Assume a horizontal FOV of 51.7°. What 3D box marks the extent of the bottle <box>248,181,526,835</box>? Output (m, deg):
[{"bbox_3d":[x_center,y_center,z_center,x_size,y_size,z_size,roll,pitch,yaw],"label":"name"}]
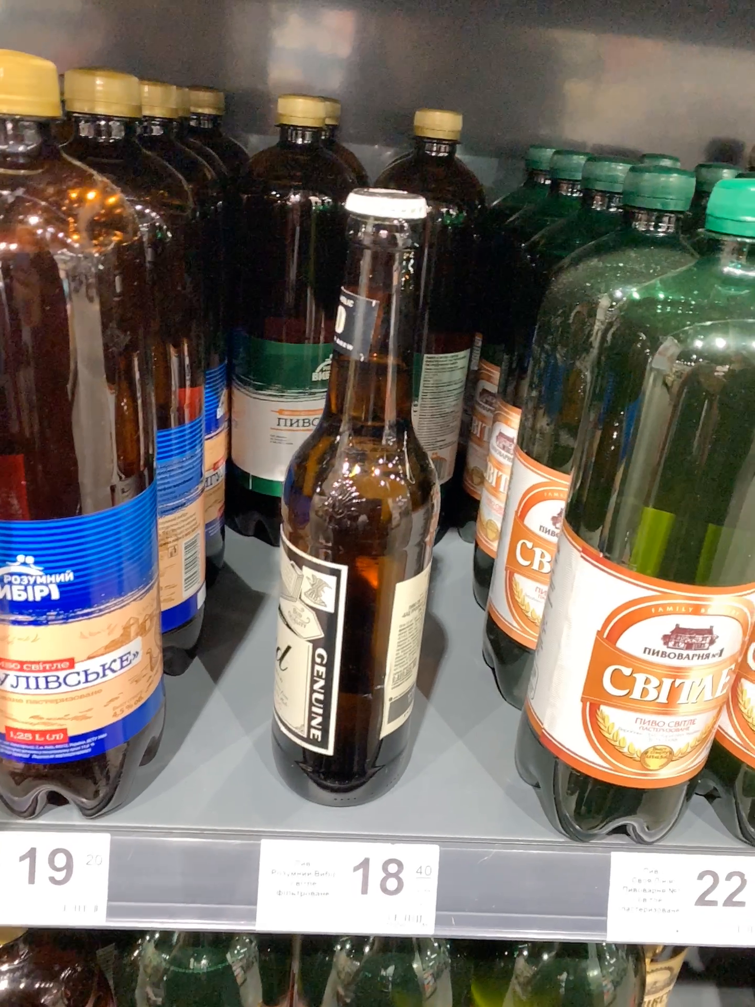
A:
[{"bbox_3d":[-0.007,0.009,0.325,0.070,0.258,0.064,4,26,-2],"label":"bottle"}]
